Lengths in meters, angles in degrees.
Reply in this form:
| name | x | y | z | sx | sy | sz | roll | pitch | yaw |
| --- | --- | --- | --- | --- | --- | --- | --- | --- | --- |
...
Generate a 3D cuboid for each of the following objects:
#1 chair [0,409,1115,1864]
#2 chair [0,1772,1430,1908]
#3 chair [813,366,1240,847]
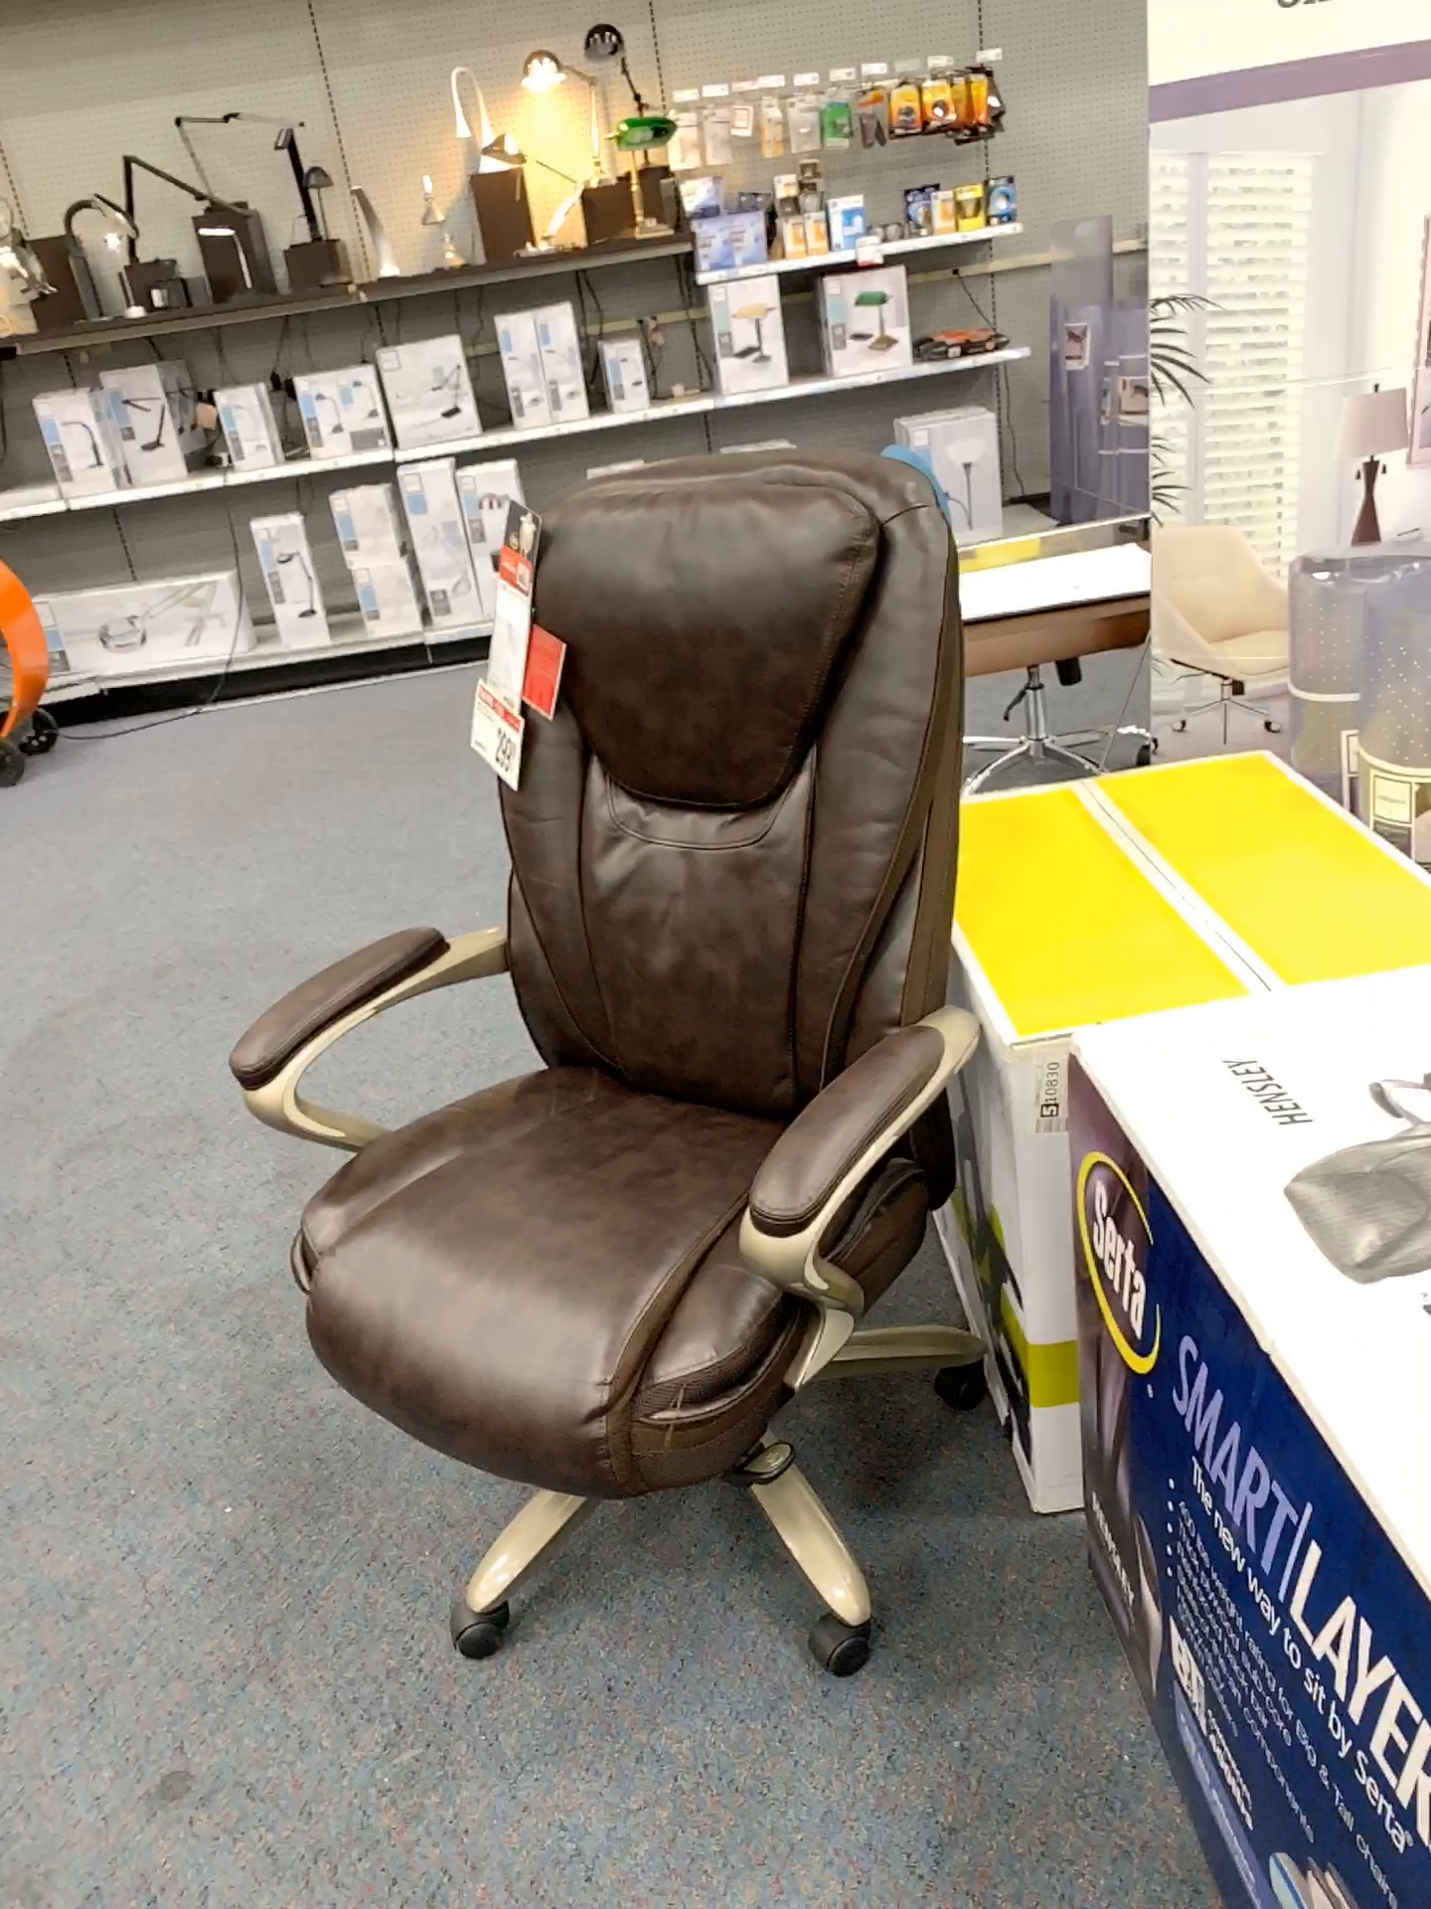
| name | x | y | z | sx | sy | sz | roll | pitch | yaw |
| --- | --- | --- | --- | --- | --- | --- | --- | --- | --- |
| chair | -0.123 | 0.085 | 1.597 | 0.783 | 1.104 | 0.846 | 12 | 34 | 36 |
| chair | 0.171 | 0.805 | 0.187 | 0.754 | 0.995 | 0.705 | -8 | 26 | 2 |
| chair | 0.706 | -0.854 | 3.486 | 0.824 | 0.856 | 0.795 | -7 | 26 | 5 |
